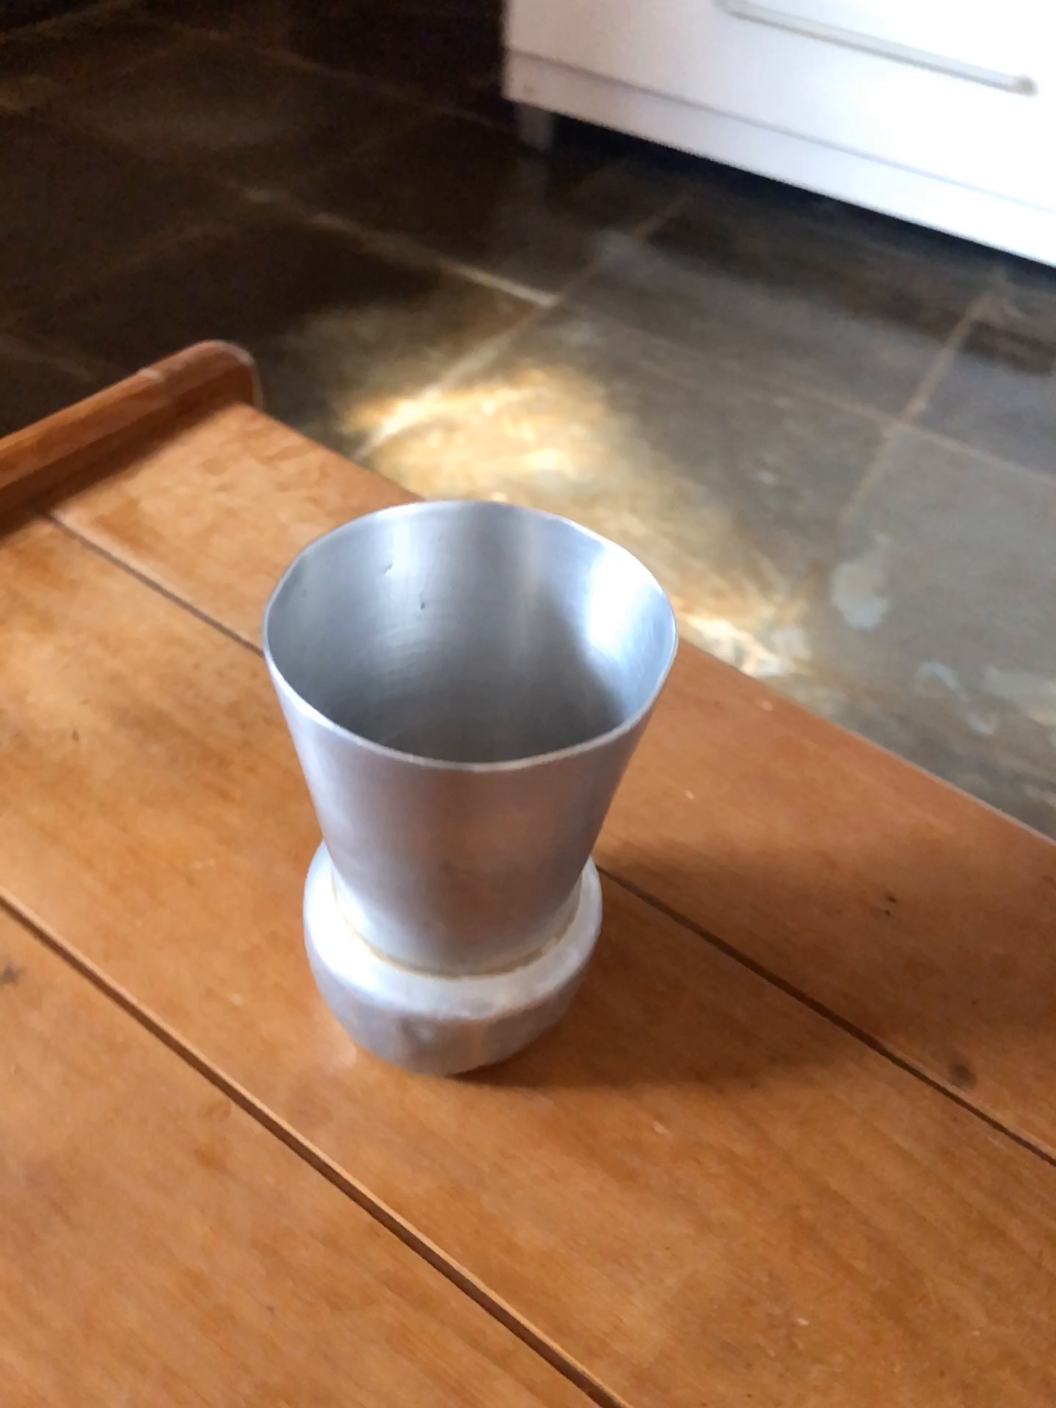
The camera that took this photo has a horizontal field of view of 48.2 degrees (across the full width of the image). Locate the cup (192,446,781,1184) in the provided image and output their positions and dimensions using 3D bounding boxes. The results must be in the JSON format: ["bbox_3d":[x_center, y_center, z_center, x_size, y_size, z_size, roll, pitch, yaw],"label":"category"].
[{"bbox_3d":[-0.009,0.024,0.233,0.070,0.109,0.070,3,46,-4],"label":"cup"}]
